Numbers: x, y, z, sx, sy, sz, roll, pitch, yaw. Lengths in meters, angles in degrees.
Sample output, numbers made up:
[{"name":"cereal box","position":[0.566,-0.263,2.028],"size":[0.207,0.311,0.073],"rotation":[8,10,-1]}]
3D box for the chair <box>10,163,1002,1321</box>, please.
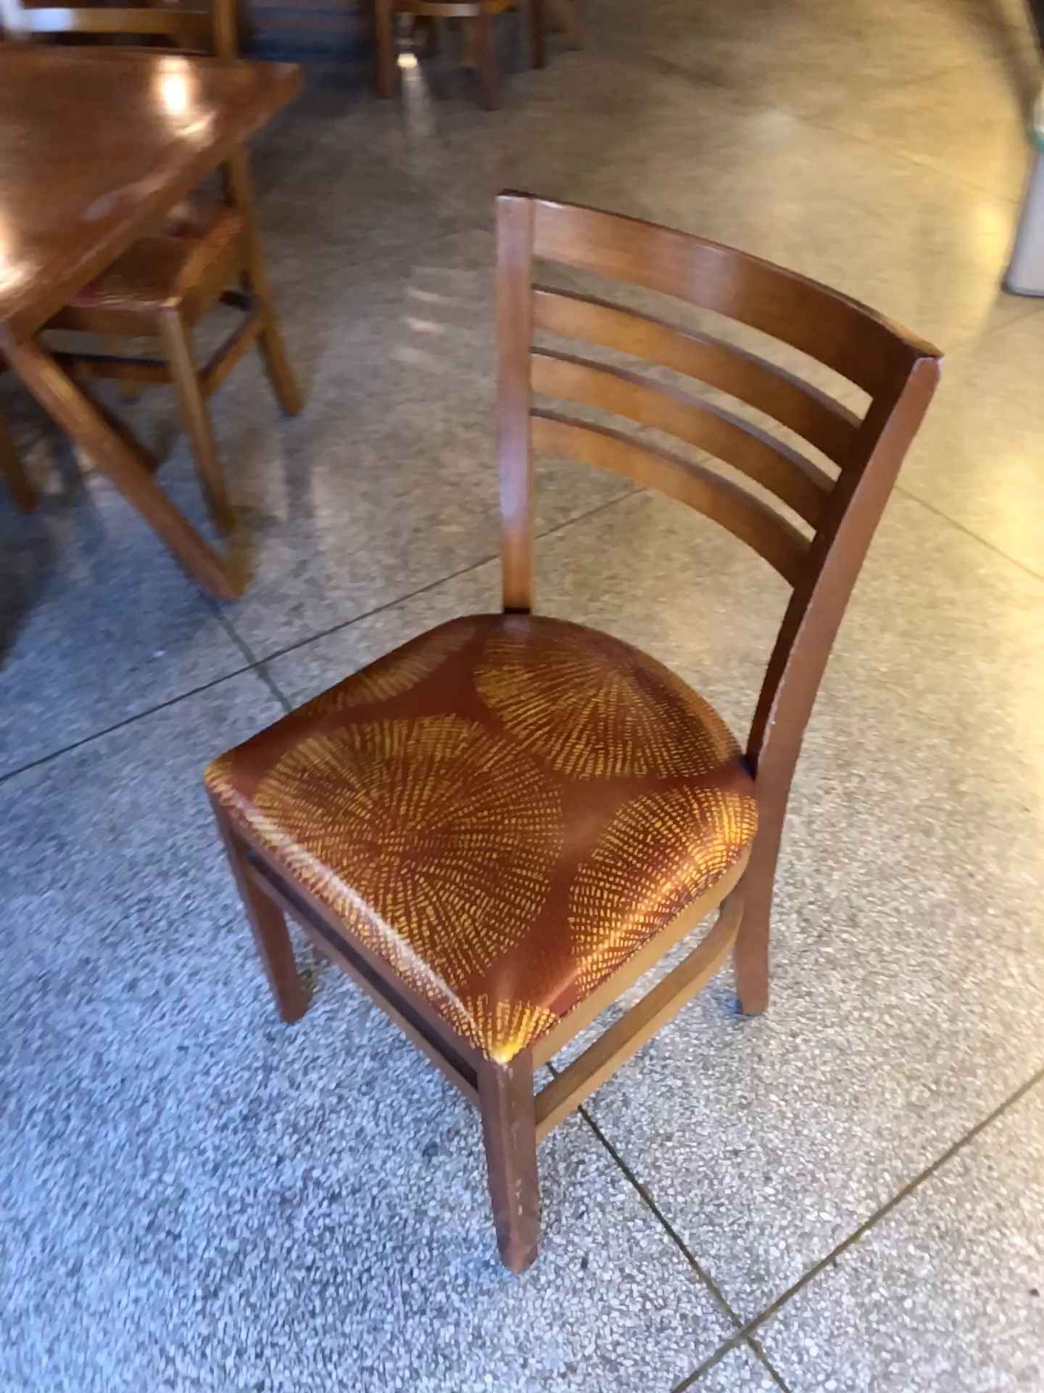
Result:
[{"name":"chair","position":[0.002,0.072,1.049],"size":[0.452,0.844,0.472],"rotation":[34,55,31]}]
